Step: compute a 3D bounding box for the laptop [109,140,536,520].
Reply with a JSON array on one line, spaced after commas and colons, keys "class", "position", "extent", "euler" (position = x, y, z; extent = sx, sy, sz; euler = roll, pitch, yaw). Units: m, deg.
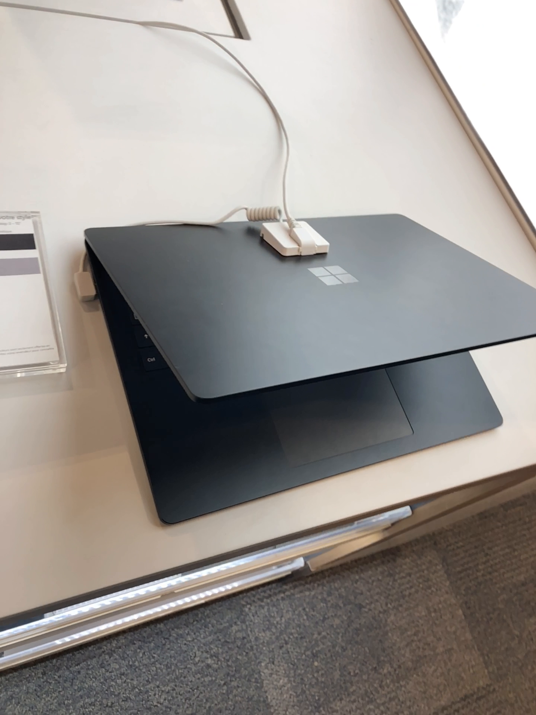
[{"class": "laptop", "position": [0.055, -0.036, 0.411], "extent": [0.285, 0.086, 0.190], "euler": [-11, 74, -29]}]
